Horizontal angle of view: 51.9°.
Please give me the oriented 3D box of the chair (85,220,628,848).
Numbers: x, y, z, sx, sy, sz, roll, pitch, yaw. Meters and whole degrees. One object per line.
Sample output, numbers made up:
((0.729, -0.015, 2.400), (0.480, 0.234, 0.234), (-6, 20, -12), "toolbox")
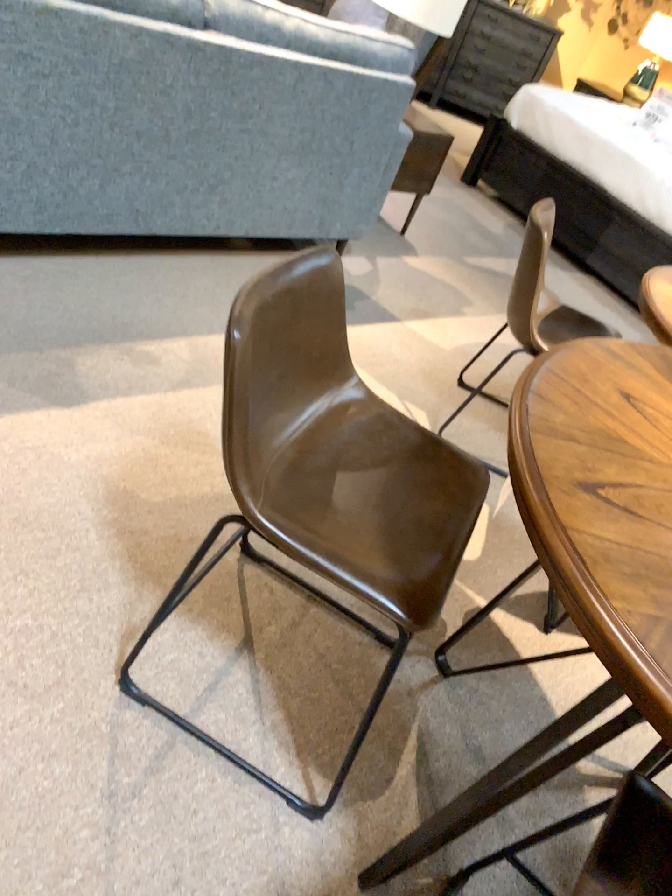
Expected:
((0.017, 0.145, 1.285), (0.580, 0.806, 0.603), (31, 38, 9), "chair")
